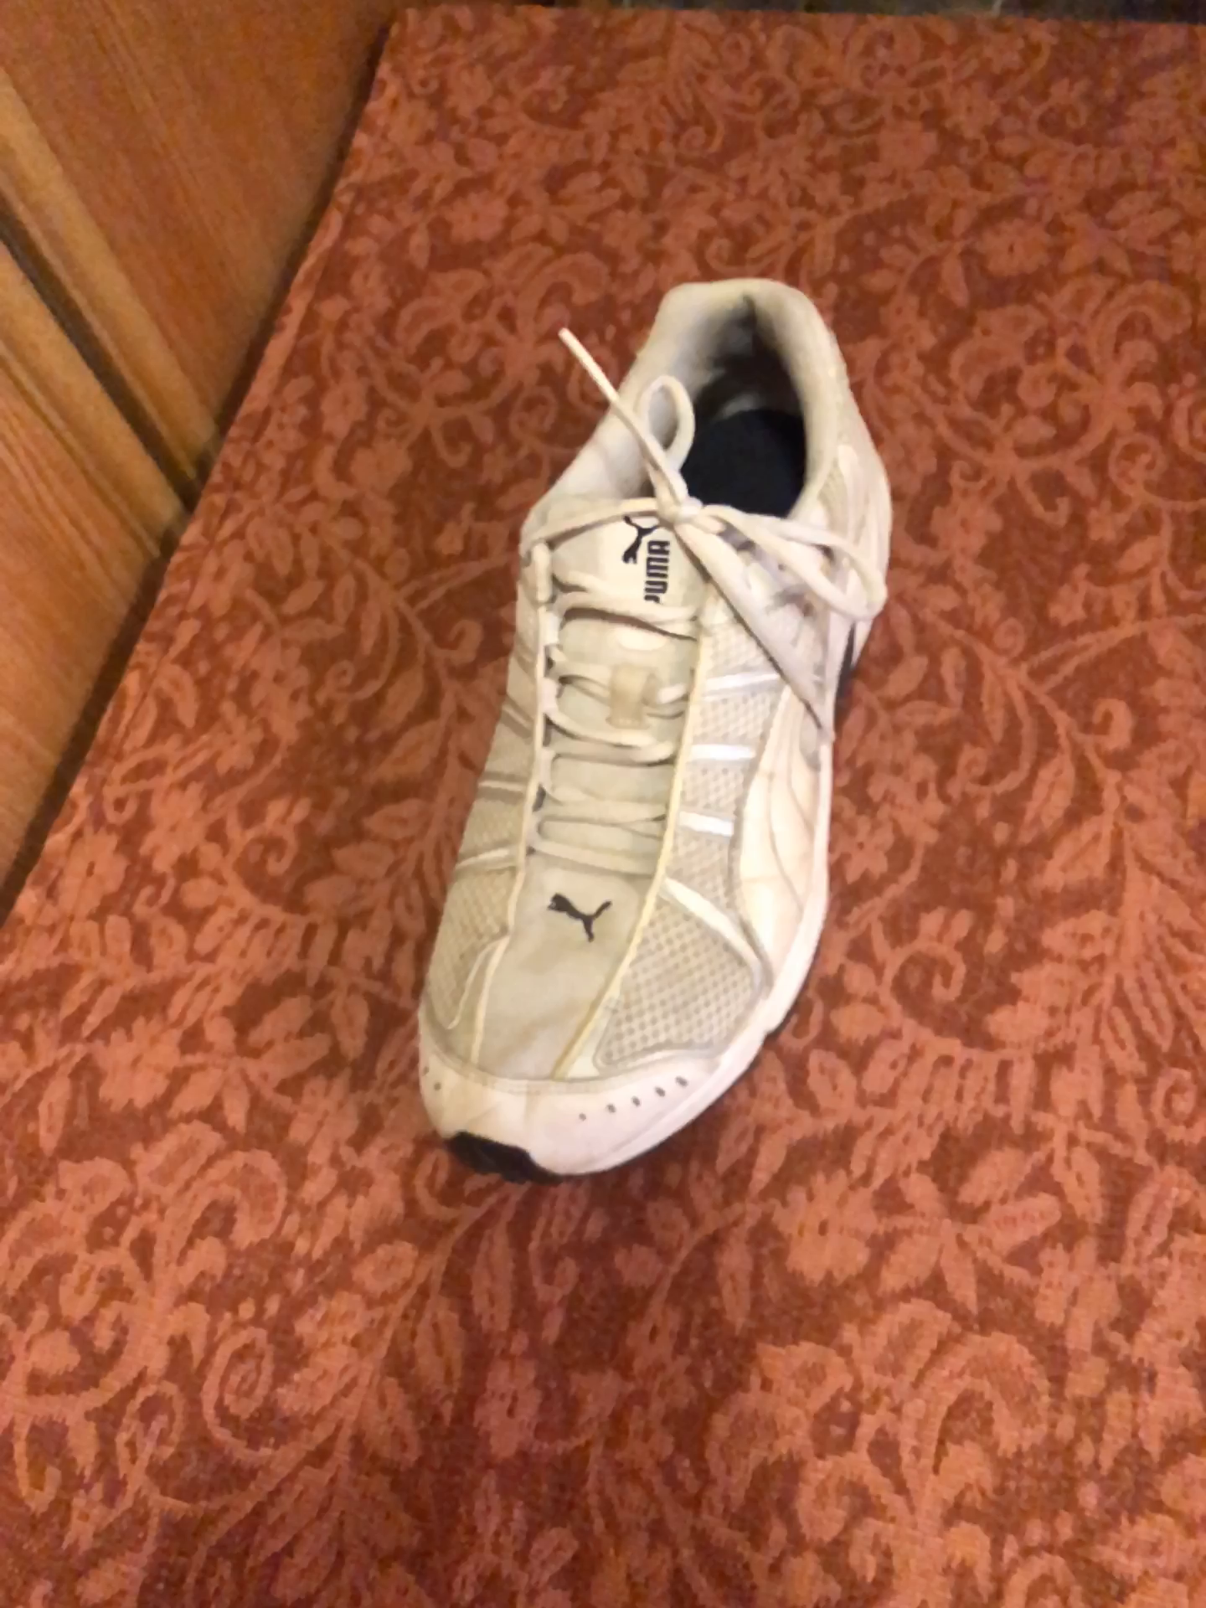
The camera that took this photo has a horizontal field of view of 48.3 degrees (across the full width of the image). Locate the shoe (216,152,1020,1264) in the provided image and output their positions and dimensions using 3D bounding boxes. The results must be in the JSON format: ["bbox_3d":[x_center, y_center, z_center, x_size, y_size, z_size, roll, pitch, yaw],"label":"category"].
[{"bbox_3d":[0.023,-0.039,0.386,0.120,0.100,0.291,13,67,17],"label":"shoe"}]
